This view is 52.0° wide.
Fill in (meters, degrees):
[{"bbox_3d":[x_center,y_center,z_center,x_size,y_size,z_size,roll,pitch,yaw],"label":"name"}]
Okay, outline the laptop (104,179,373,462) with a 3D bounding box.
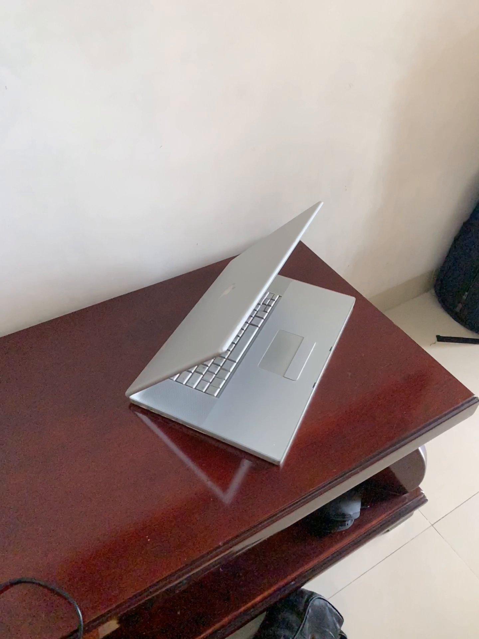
[{"bbox_3d":[0.025,-0.028,0.813,0.265,0.193,0.401,19,46,17],"label":"laptop"}]
